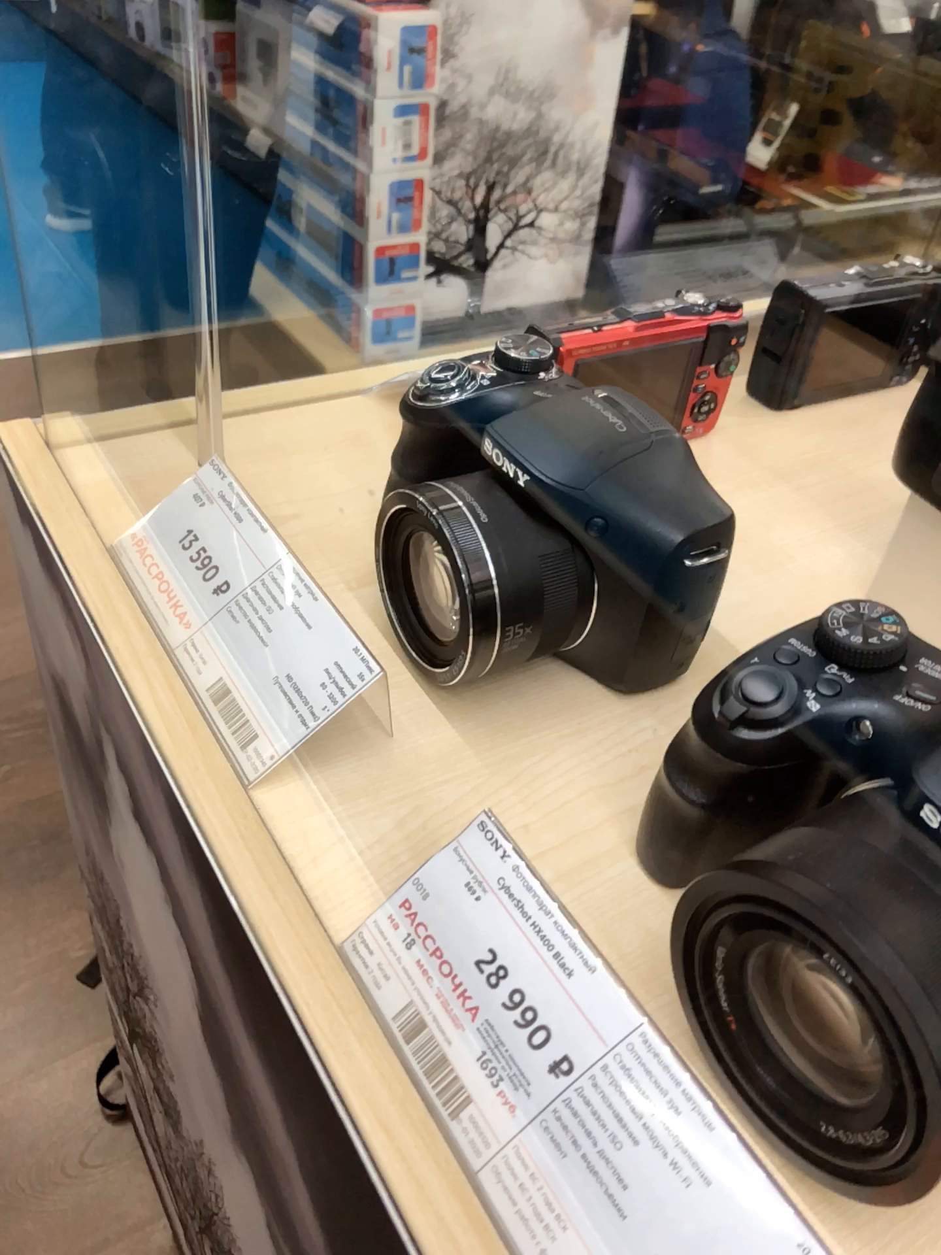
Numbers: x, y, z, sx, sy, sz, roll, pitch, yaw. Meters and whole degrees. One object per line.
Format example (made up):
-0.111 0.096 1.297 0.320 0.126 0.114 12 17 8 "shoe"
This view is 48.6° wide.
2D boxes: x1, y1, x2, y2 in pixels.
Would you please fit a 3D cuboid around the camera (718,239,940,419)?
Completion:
0.181 -0.149 0.514 0.111 0.069 0.026 -16 45 -27 "camera"

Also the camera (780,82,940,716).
0.216 -0.085 0.316 0.132 0.106 0.168 -18 45 -28 "camera"

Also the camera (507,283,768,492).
0.073 -0.107 0.460 0.111 0.069 0.026 -18 45 -28 "camera"

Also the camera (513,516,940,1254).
0.102 0.058 0.255 0.125 0.097 0.124 -16 45 -27 "camera"

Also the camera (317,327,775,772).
0.016 -0.034 0.353 0.092 0.078 0.124 -16 45 -27 "camera"
